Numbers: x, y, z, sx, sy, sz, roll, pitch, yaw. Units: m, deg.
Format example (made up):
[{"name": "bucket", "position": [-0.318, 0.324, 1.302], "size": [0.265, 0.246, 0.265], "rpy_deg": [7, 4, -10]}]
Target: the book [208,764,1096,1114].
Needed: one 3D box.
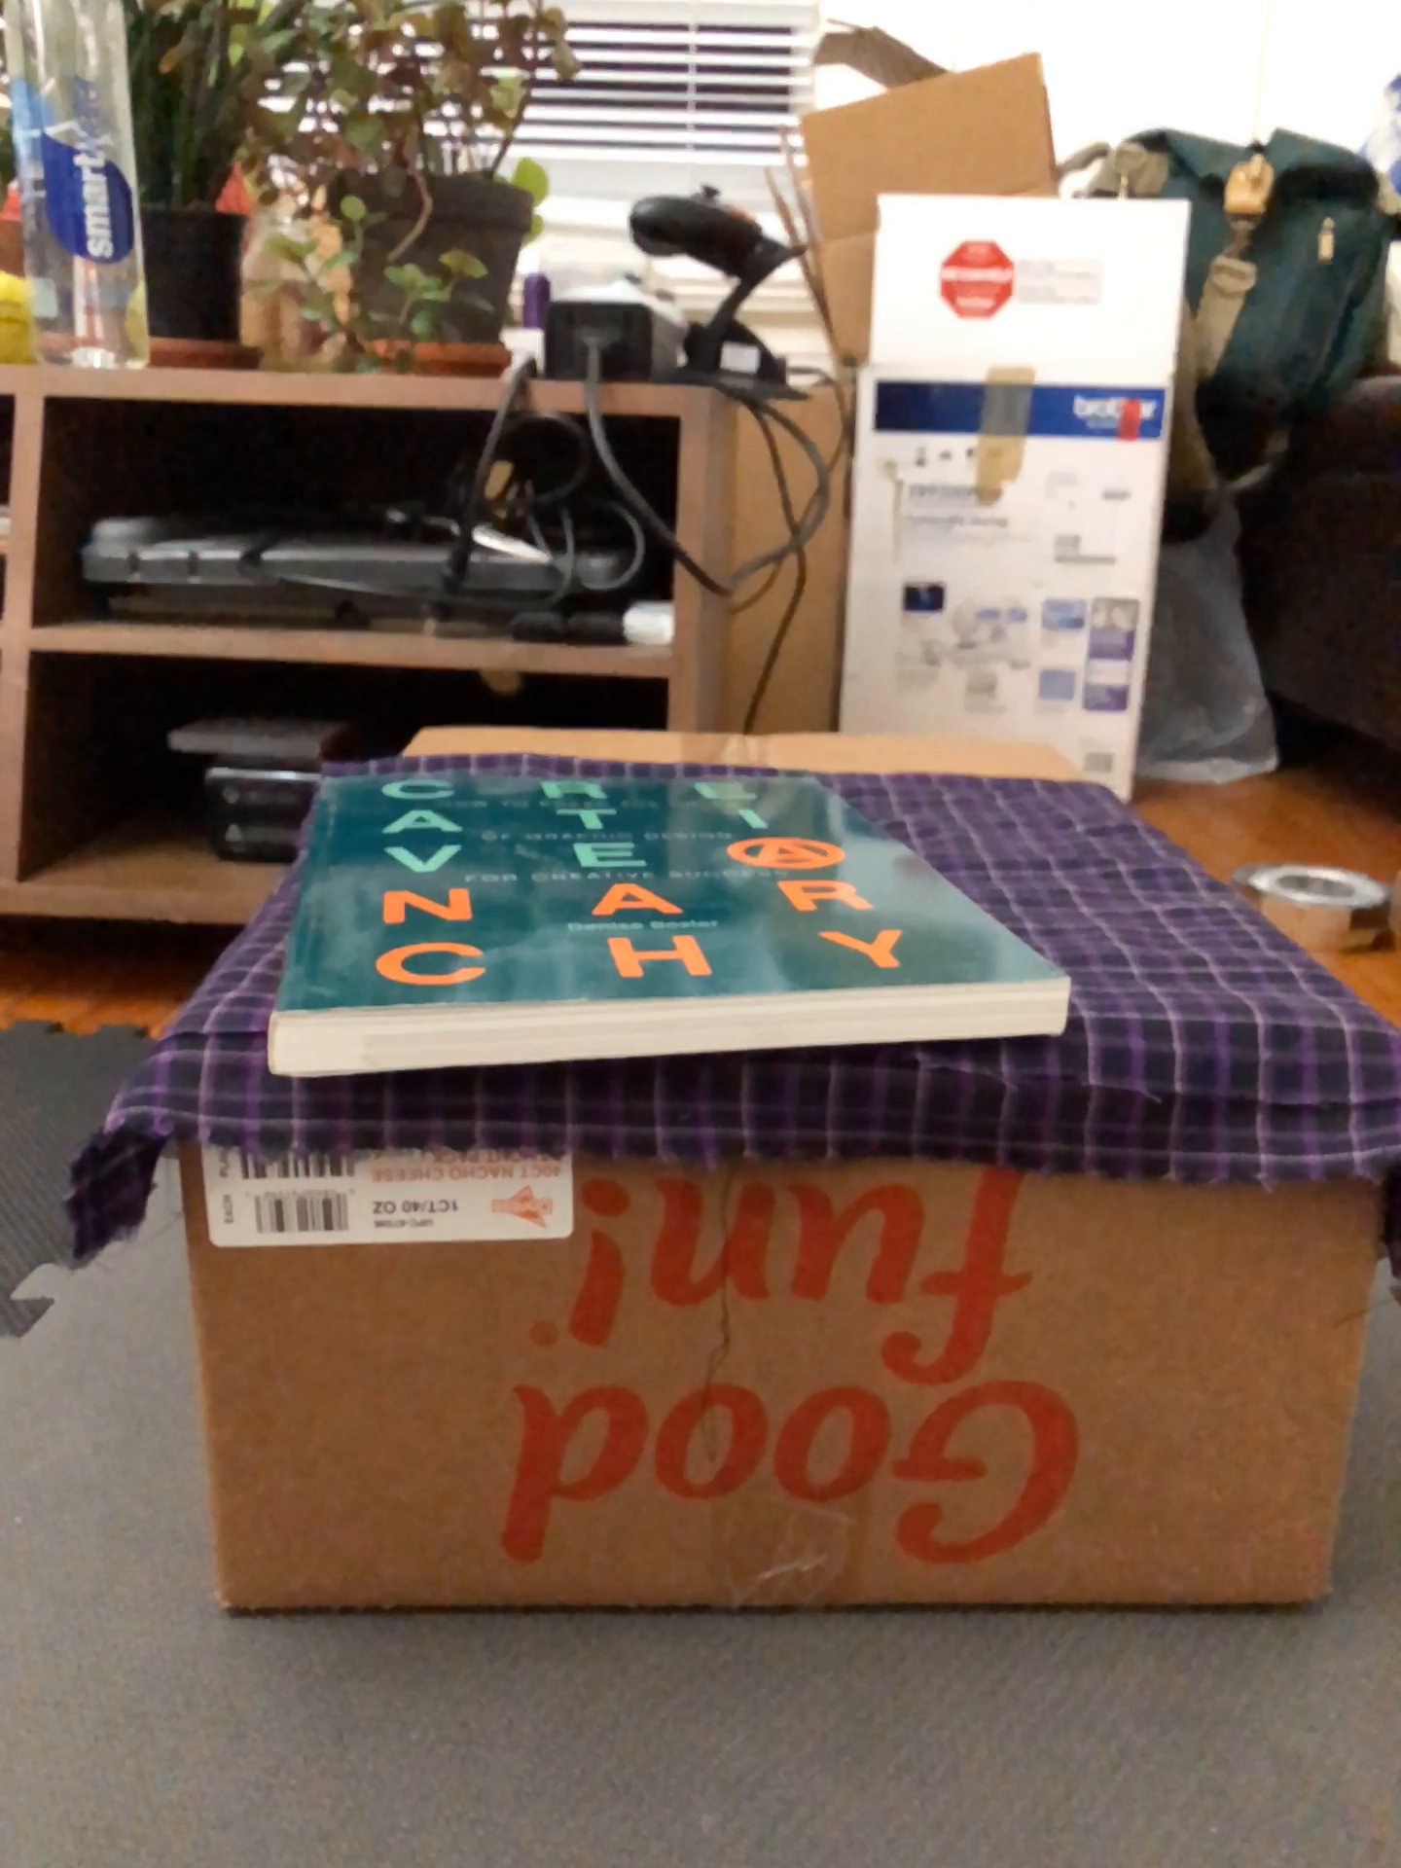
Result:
[{"name": "book", "position": [-0.034, -0.016, 0.524], "size": [0.220, 0.020, 0.301], "rpy_deg": [-2, 18, -11]}]
